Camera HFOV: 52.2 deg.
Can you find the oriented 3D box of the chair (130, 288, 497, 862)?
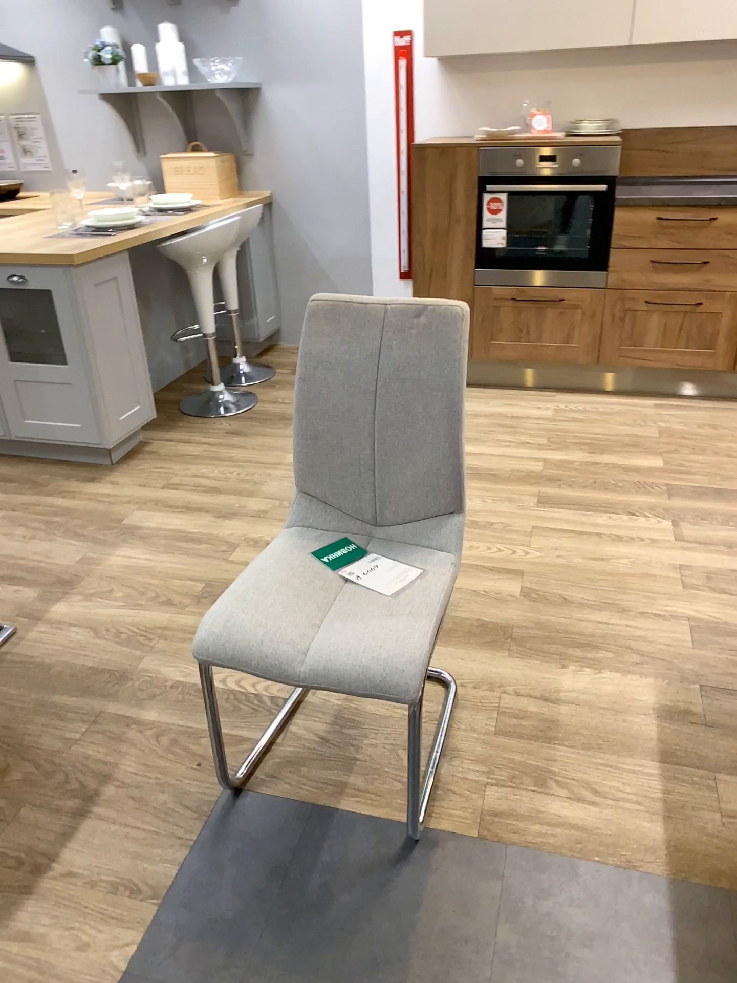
[{"bbox_3d":[-0.043,0.140,1.587,0.490,0.985,0.573,7,28,17],"label":"chair"}]
